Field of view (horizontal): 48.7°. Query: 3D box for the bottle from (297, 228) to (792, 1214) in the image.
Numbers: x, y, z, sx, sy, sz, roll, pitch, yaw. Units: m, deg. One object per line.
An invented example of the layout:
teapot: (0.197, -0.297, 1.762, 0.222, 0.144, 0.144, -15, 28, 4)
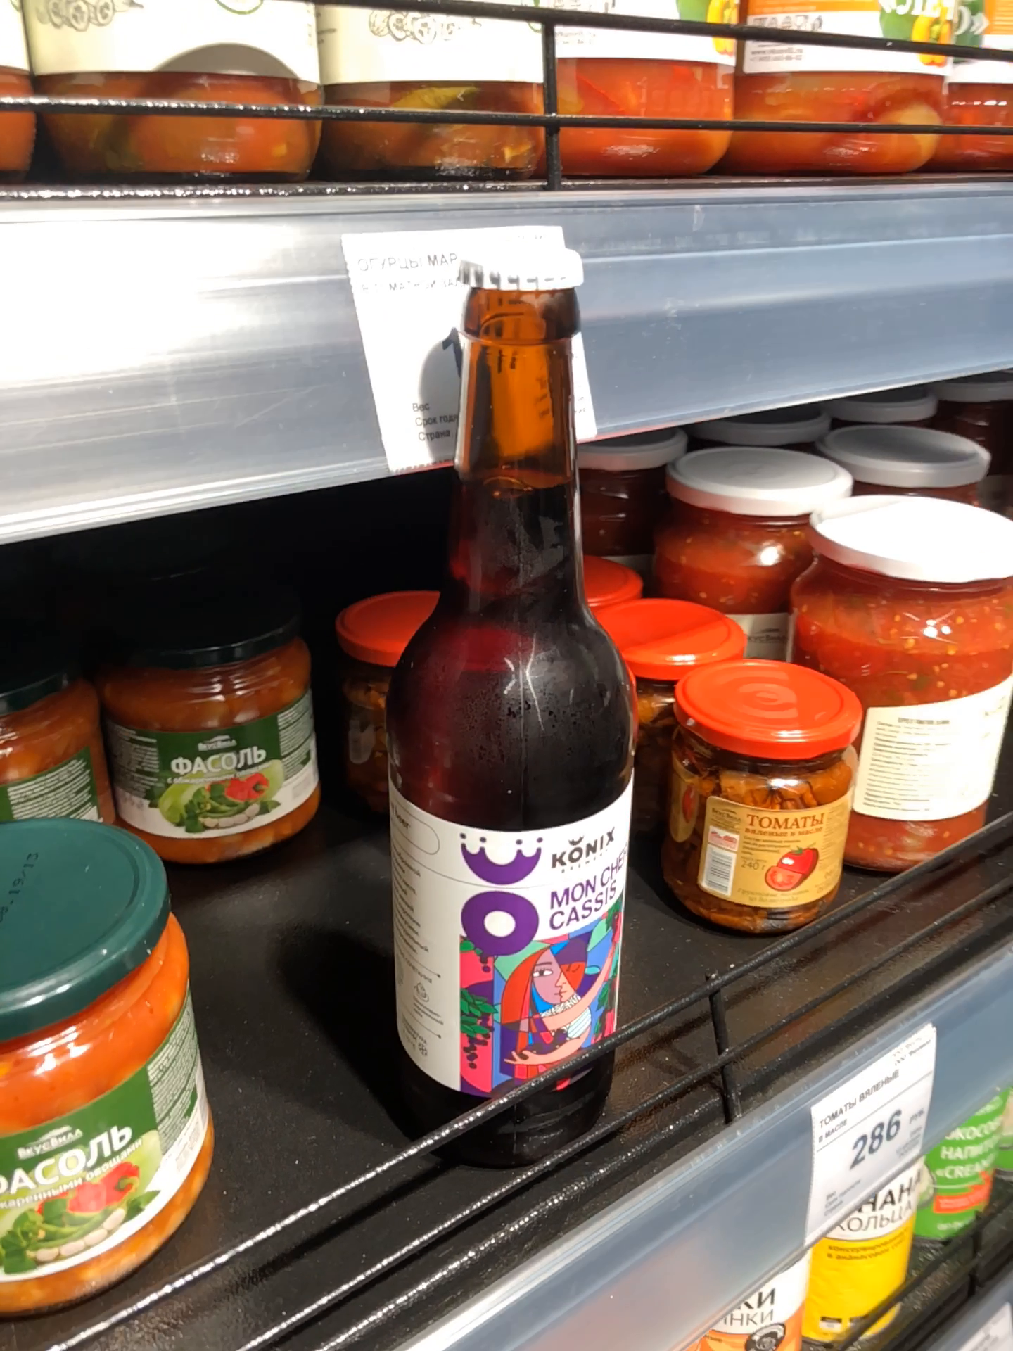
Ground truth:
bottle: (0.002, 0.013, 0.297, 0.080, 0.239, 0.080, 1, 26, -1)
